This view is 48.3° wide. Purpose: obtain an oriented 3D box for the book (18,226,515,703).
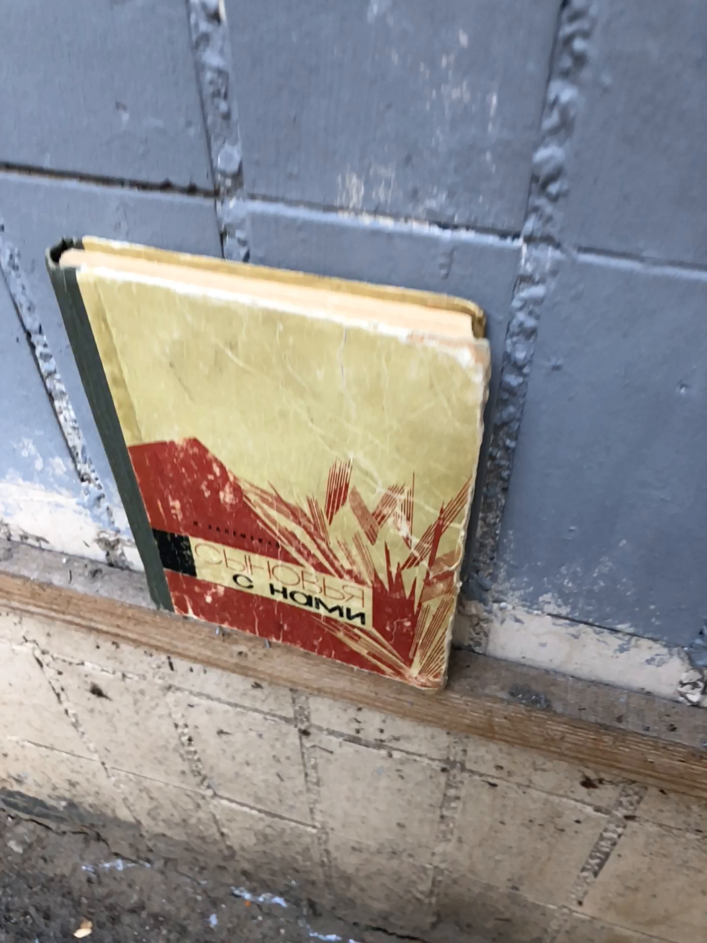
[{"bbox_3d":[-0.026,0.006,0.262,0.135,0.156,0.020,13,43,14],"label":"book"}]
